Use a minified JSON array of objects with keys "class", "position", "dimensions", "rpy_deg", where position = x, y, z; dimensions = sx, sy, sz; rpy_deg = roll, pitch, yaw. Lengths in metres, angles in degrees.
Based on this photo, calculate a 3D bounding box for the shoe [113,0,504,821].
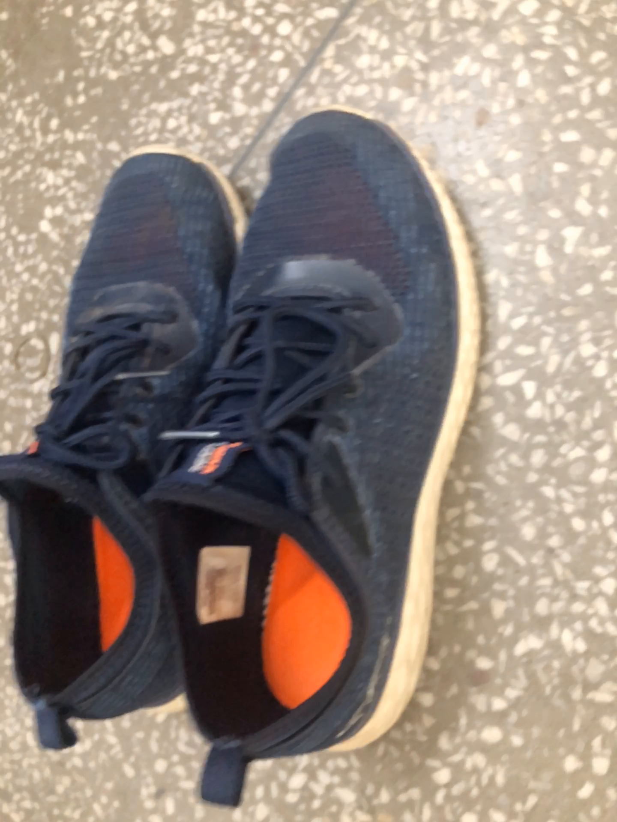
[{"class":"shoe","position":[0.005,-0.003,0.279],"dimensions":[0.124,0.099,0.249],"rpy_deg":[0,89,26]}]

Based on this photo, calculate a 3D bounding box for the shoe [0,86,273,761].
[{"class":"shoe","position":[-0.093,0.006,0.326],"dimensions":[0.114,0.099,0.249],"rpy_deg":[-2,88,26]}]
